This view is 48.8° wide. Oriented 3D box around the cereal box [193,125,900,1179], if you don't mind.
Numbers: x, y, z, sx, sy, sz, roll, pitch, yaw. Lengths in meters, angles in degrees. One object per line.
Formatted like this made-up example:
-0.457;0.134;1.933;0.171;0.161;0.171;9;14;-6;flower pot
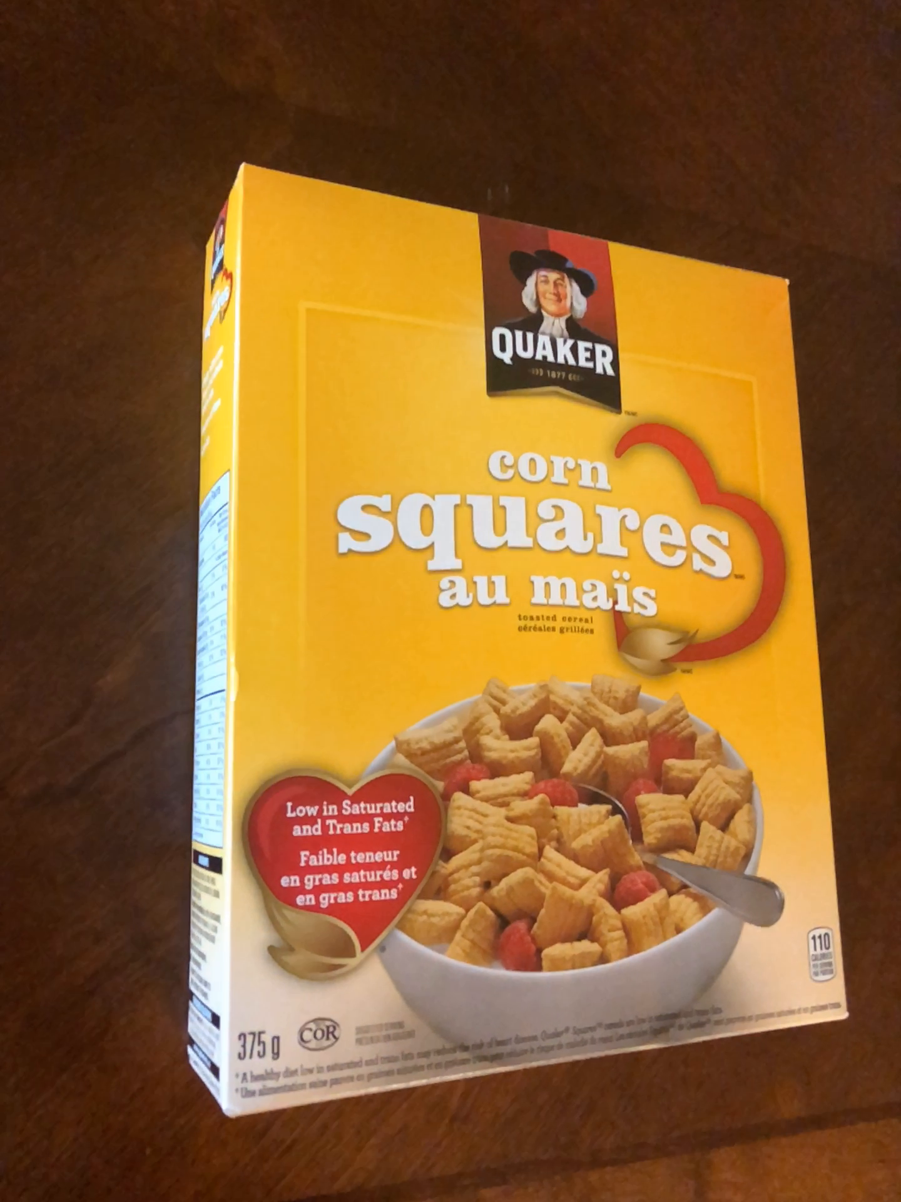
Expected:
0.036;0.010;0.323;0.220;0.050;0.270;3;79;-25;cereal box
